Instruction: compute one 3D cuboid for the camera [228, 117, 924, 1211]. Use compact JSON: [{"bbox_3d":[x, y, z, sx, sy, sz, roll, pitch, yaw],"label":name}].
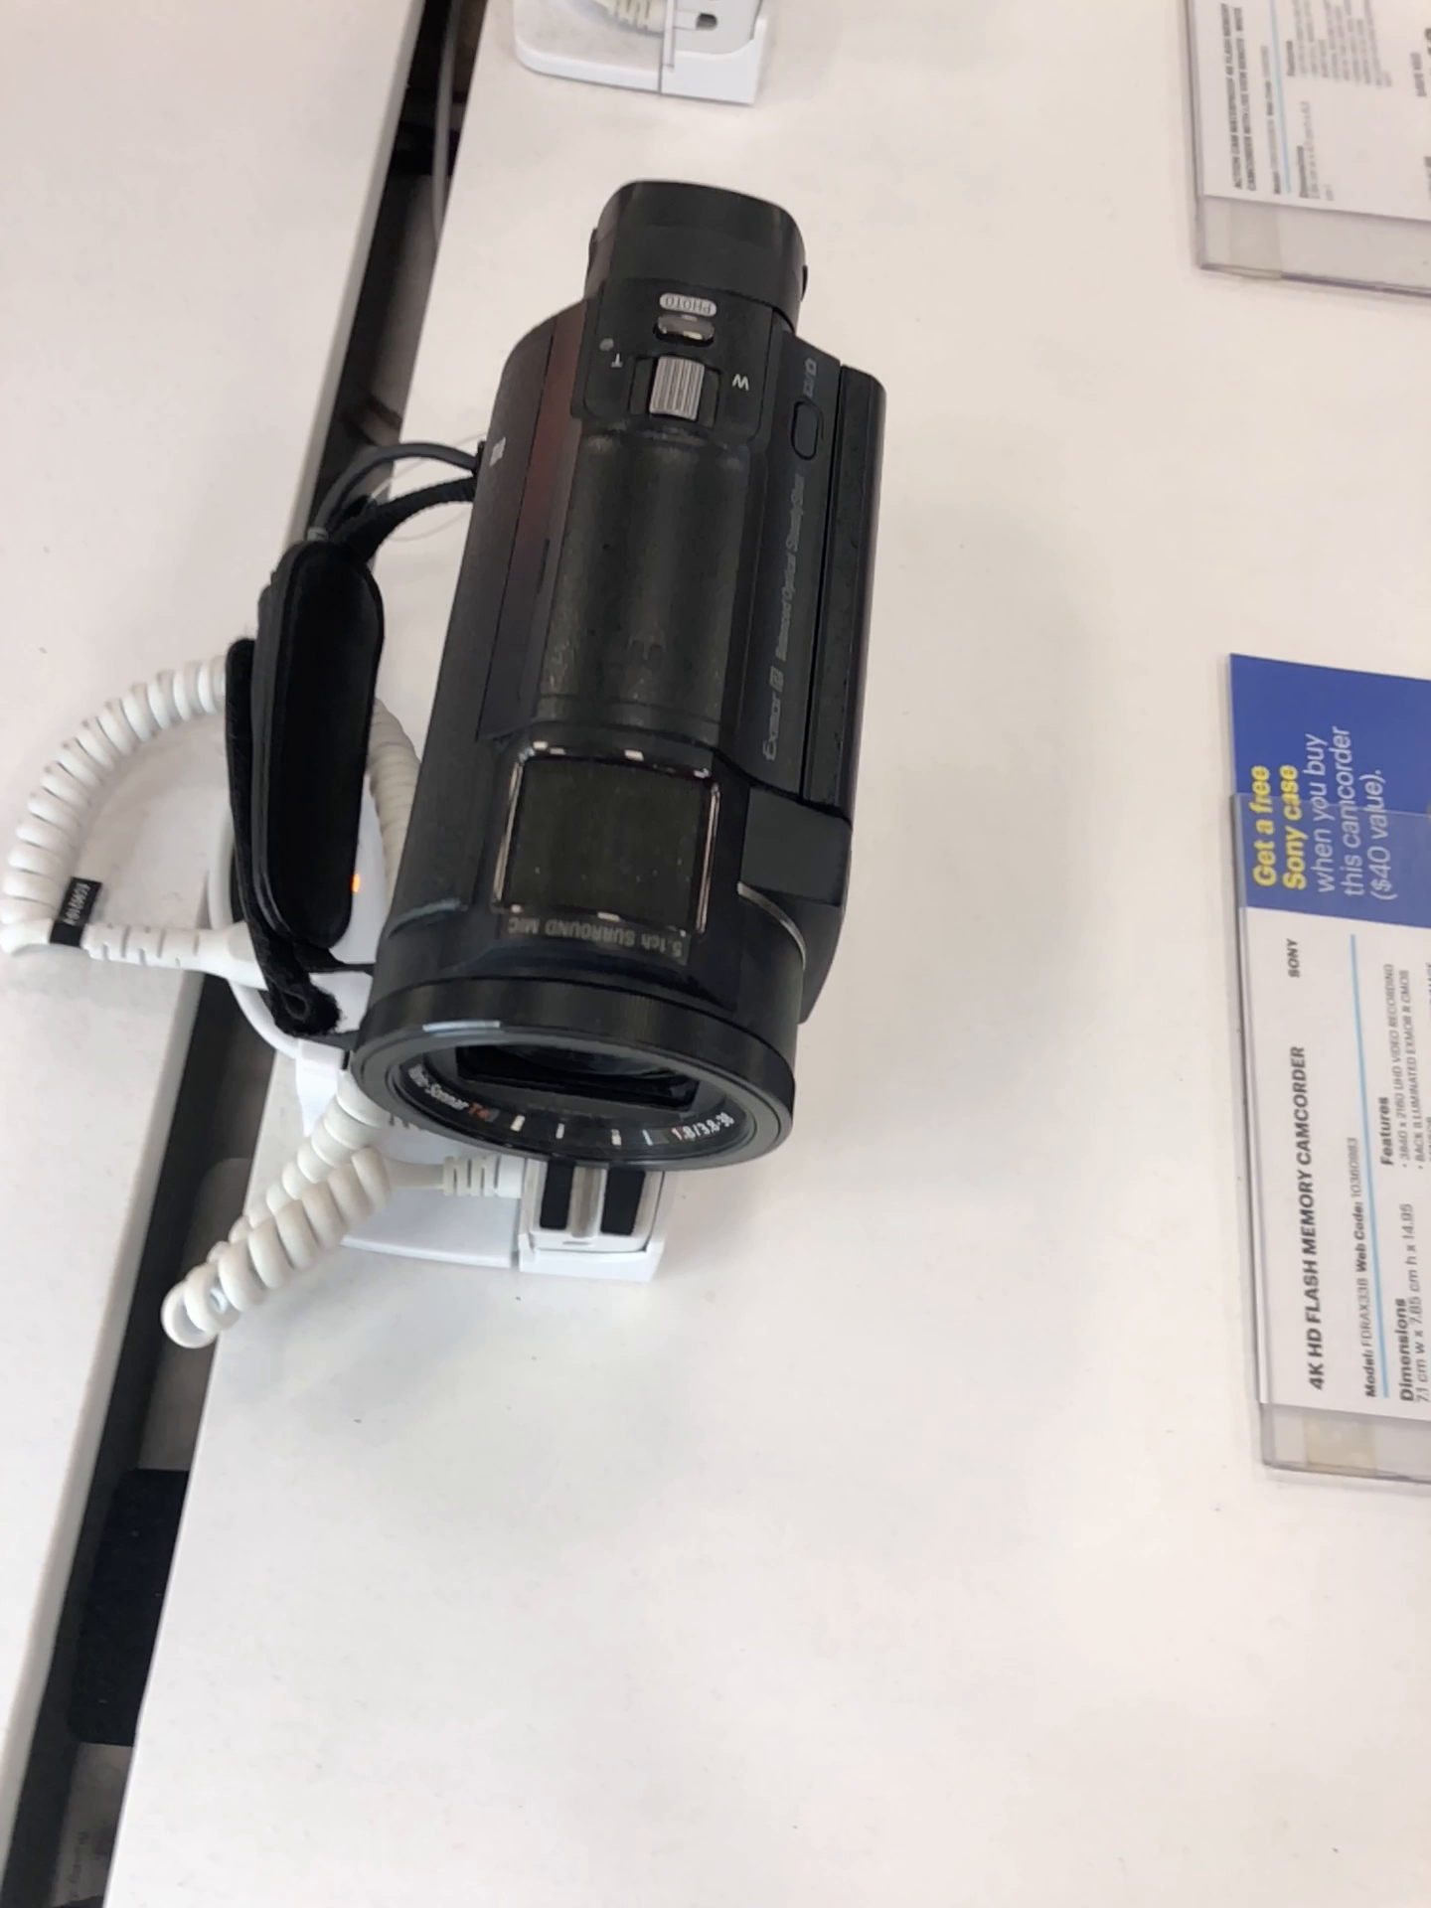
[{"bbox_3d":[-0.016,-0.045,0.256,0.080,0.070,0.150,7,67,-3],"label":"camera"}]
